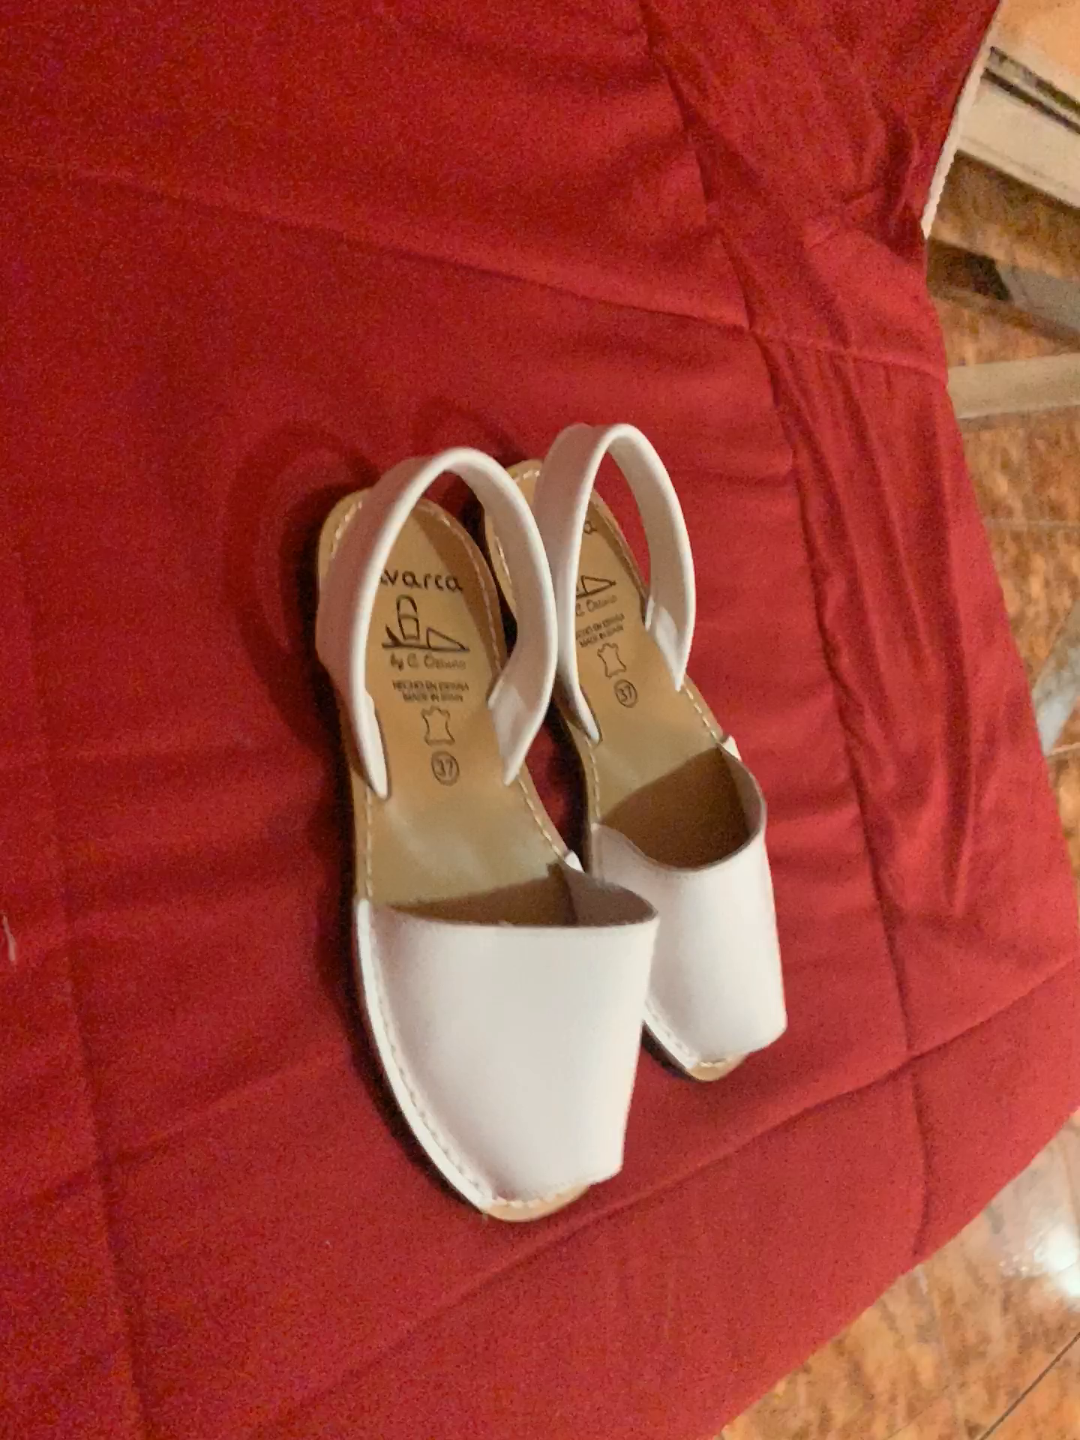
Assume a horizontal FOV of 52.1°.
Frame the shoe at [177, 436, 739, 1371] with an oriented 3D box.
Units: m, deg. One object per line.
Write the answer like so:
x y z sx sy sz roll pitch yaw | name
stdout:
-0.024 0.044 0.346 0.108 0.063 0.247 -10 86 -42 | shoe

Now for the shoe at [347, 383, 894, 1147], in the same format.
0.036 0.014 0.408 0.104 0.063 0.249 -28 98 -42 | shoe
